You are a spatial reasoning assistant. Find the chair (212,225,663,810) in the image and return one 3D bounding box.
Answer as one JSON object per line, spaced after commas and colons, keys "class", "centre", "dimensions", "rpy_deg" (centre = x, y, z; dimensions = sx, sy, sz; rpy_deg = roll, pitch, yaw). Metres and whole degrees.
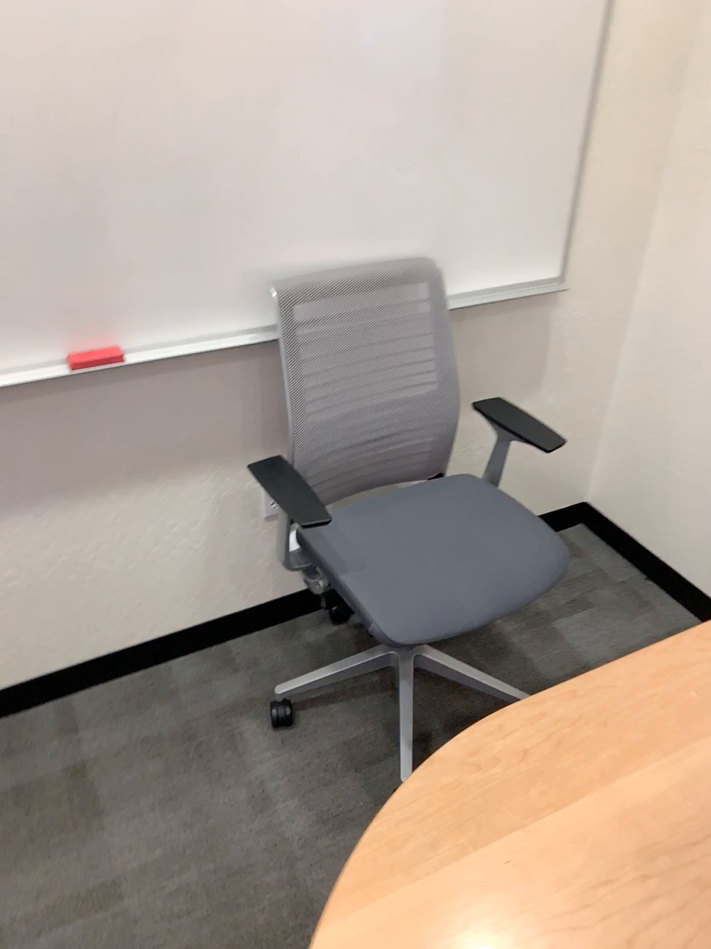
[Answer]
{"class": "chair", "centre": [0.141, 0.071, 2.017], "dimensions": [0.760, 1.263, 0.754], "rpy_deg": [-15, 35, -26]}
